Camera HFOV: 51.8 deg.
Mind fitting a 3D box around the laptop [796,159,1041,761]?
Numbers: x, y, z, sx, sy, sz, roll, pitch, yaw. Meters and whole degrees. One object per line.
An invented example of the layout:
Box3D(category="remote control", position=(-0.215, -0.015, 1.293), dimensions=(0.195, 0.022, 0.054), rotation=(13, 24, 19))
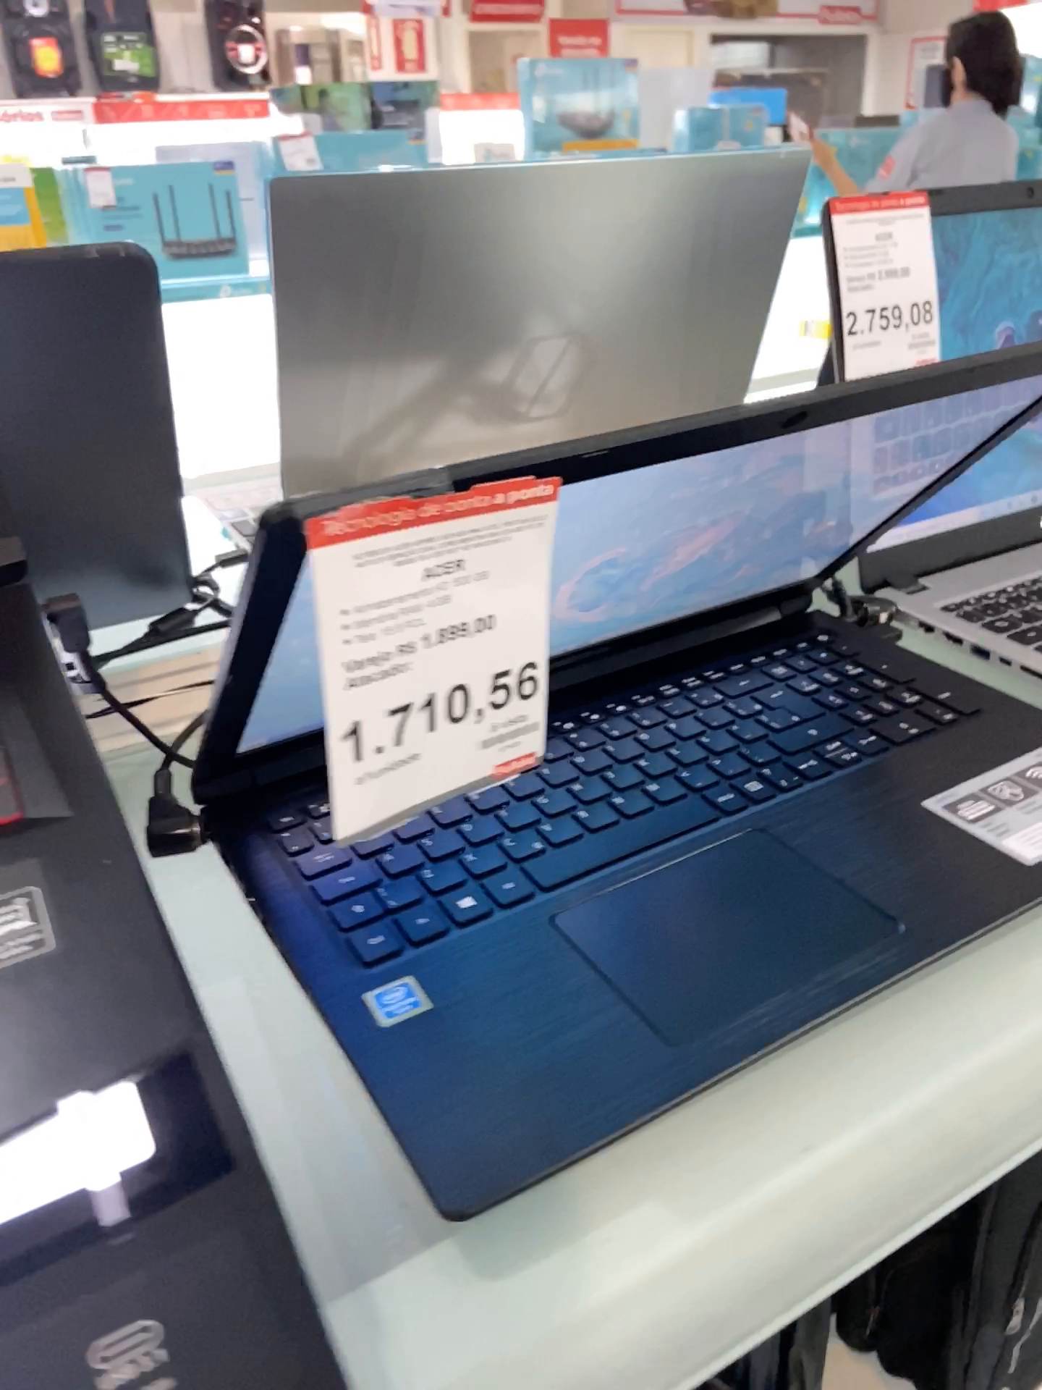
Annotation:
Box3D(category="laptop", position=(0.414, -0.178, 0.631), dimensions=(0.363, 0.227, 0.314), rotation=(-16, 30, -24))

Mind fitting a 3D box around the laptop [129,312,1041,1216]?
Box3D(category="laptop", position=(0.078, -0.029, 0.432), dimensions=(0.376, 0.169, 0.230), rotation=(-17, 32, -27))
